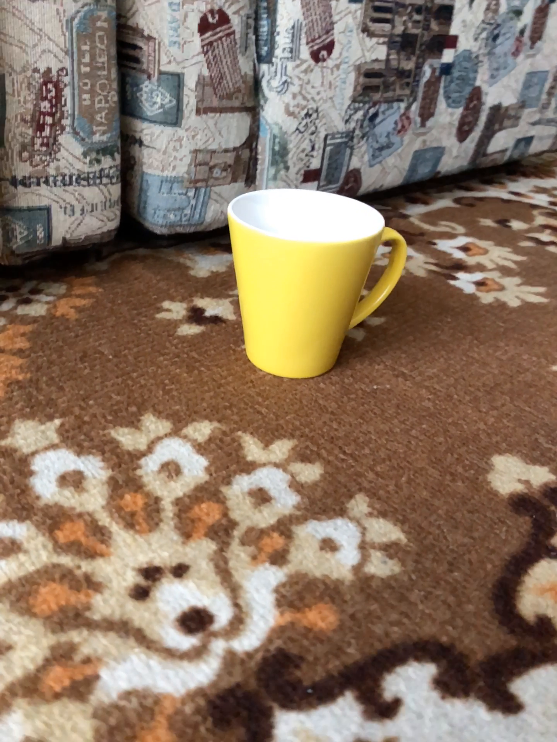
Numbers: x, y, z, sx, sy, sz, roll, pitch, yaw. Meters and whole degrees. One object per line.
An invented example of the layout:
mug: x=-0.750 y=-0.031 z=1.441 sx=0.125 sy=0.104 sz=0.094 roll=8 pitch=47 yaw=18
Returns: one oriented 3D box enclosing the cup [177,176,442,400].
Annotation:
cup: x=0.016 y=-0.061 z=0.385 sx=0.125 sy=0.088 sz=0.097 roll=-20 pitch=38 yaw=-35
